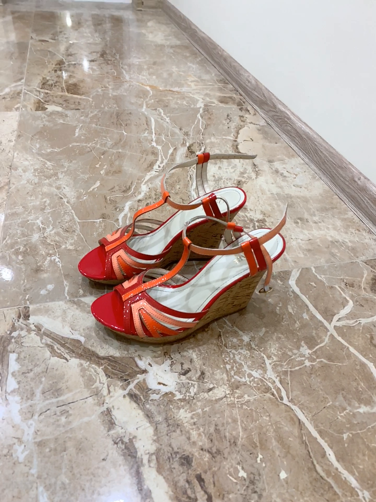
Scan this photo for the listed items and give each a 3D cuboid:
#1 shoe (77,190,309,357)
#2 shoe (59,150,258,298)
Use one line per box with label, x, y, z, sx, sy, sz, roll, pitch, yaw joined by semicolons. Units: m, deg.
shoe;0.001;0.021;0.427;0.217;0.129;0.080;-9;44;-17
shoe;-0.040;-0.038;0.495;0.217;0.139;0.084;-9;44;-17
